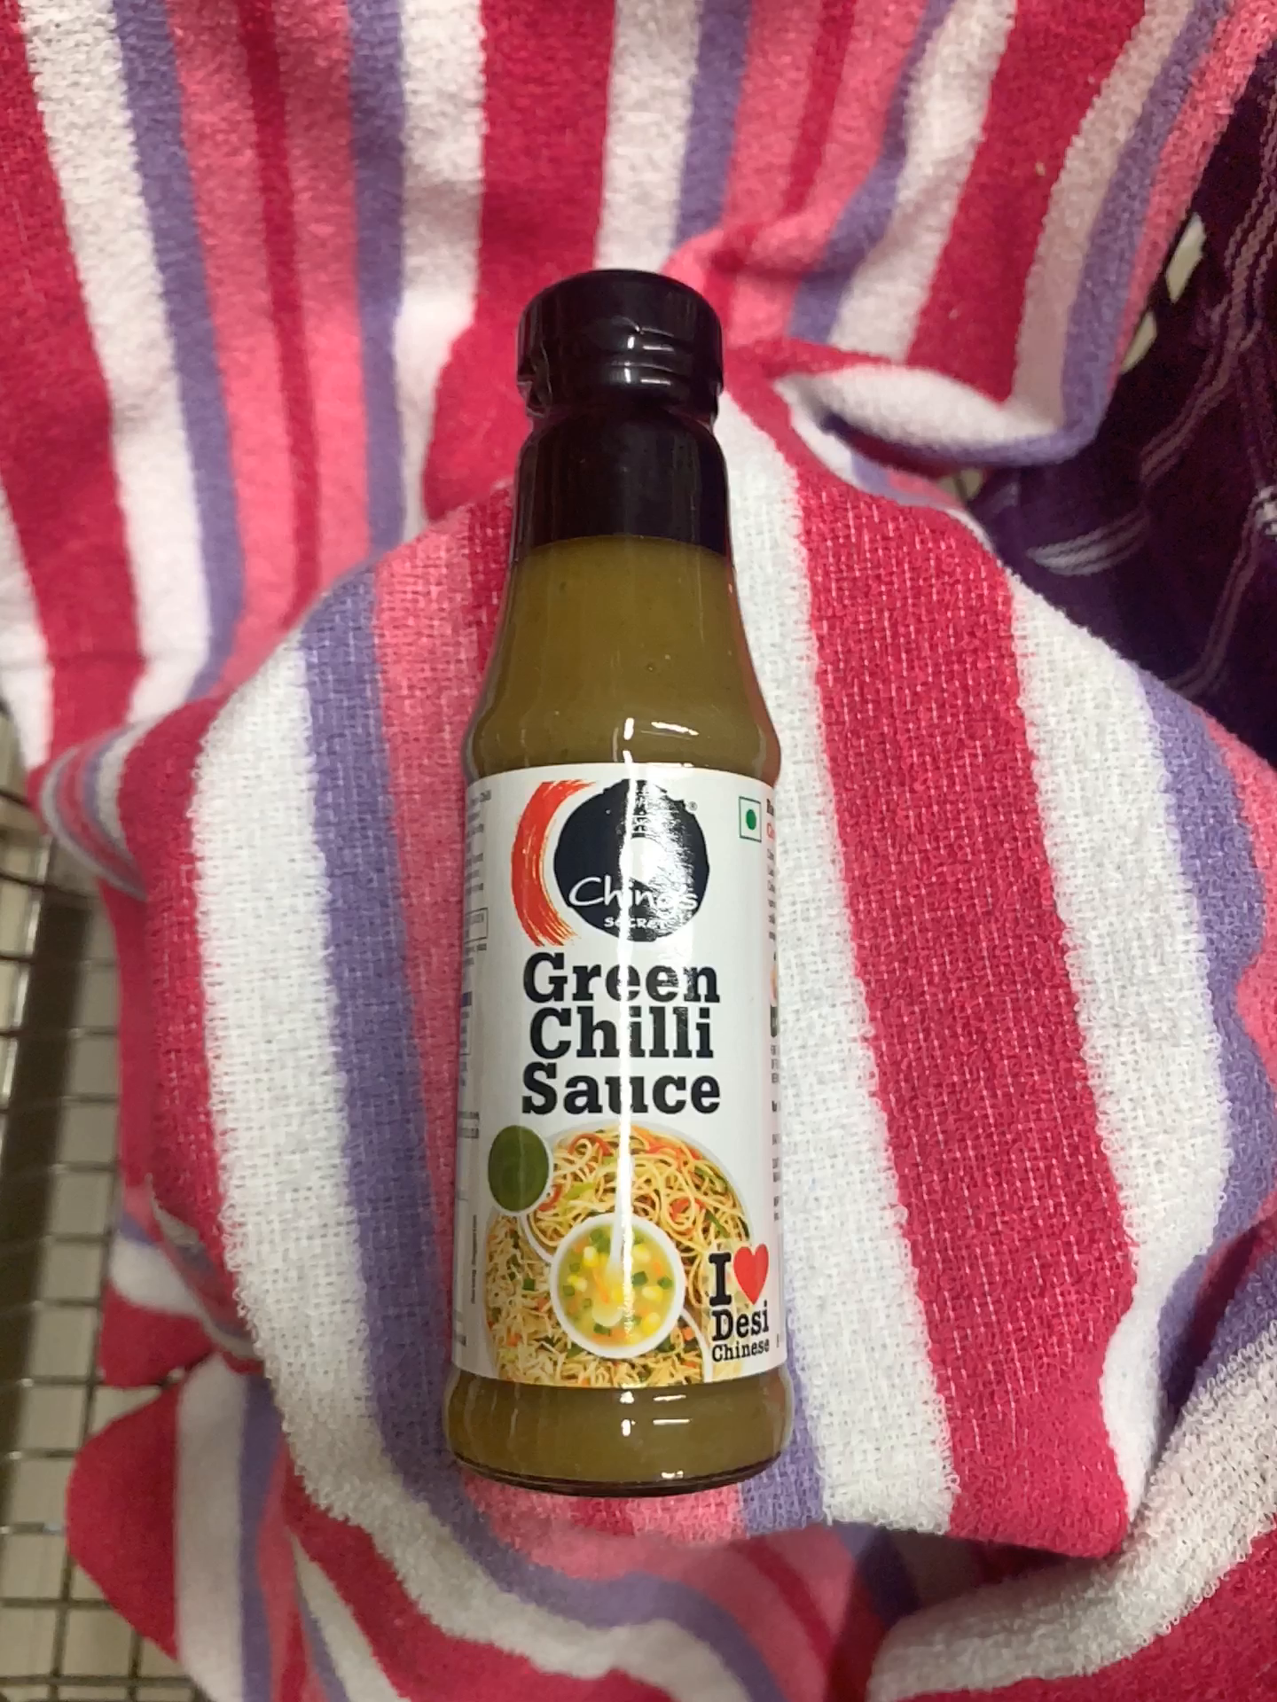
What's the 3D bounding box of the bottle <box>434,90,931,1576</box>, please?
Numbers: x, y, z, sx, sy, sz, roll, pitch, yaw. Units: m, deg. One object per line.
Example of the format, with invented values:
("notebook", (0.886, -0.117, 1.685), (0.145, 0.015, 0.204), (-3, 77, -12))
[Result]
("bottle", (0.004, -0.006, 0.175), (0.050, 0.050, 0.170), (-1, 79, 3))
